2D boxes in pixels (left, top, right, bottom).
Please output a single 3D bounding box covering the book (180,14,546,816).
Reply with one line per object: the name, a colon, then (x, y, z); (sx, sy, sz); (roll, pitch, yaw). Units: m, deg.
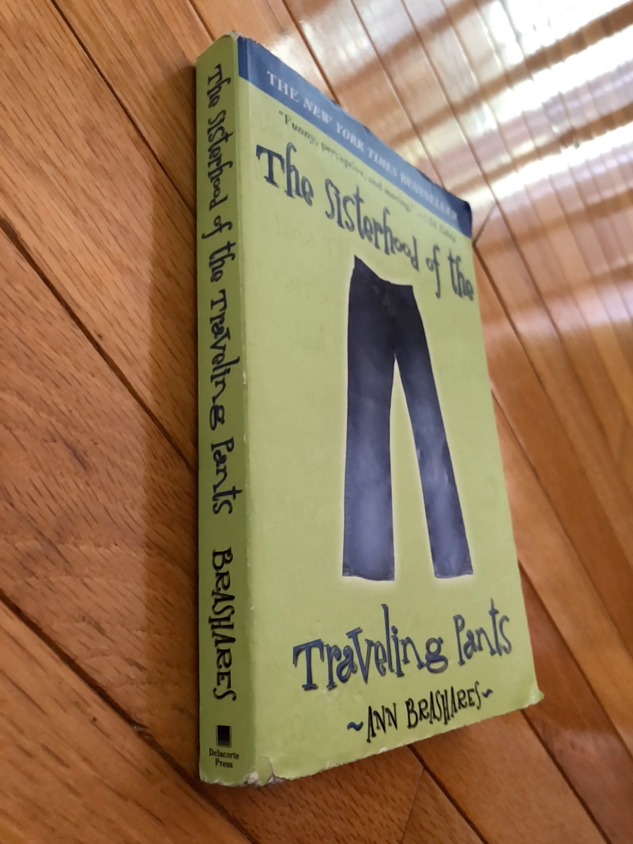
book: (0.020, -0.004, 0.239); (0.142, 0.025, 0.209); (14, 66, -49)
